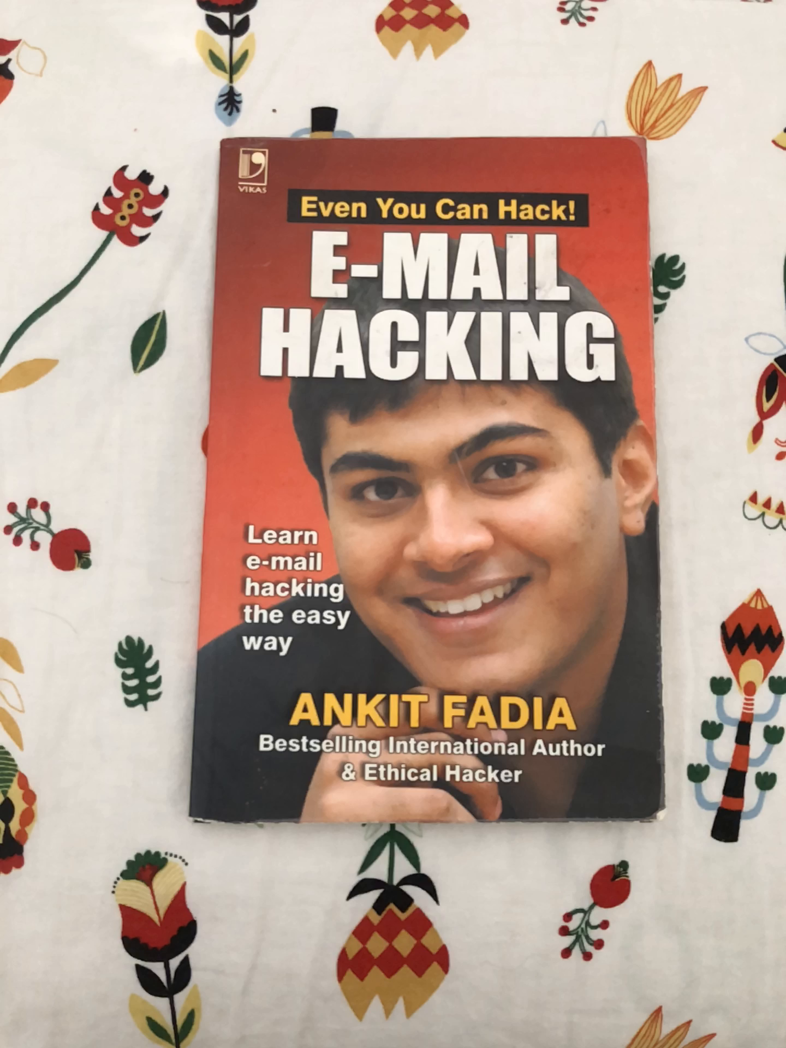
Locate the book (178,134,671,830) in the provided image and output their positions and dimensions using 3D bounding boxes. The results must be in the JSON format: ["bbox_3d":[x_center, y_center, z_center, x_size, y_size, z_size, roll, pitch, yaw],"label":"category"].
[{"bbox_3d":[0.010,-0.016,0.265,0.137,0.020,0.204,0,84,0],"label":"book"}]
